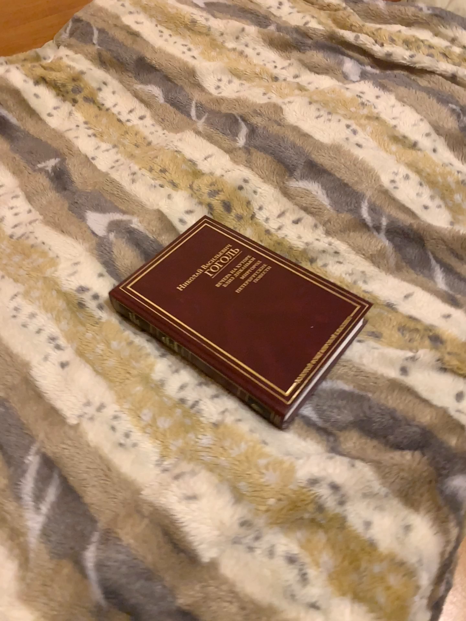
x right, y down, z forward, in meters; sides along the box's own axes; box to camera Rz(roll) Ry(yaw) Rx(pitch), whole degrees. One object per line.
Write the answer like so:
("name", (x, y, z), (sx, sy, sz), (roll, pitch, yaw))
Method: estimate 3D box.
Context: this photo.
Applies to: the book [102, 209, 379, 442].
("book", (0.006, 0.000, 0.458), (0.211, 0.040, 0.150), (32, 59, 23))
